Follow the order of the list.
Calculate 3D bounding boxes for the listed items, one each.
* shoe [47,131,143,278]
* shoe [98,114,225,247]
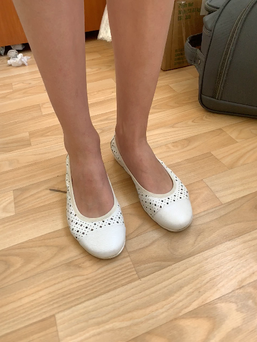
[{"bbox_3d":[-0.072,0.039,0.482,0.100,0.070,0.271,-17,44,-12],"label":"shoe"},{"bbox_3d":[0.042,-0.002,0.488,0.090,0.070,0.271,-22,46,-17],"label":"shoe"}]
